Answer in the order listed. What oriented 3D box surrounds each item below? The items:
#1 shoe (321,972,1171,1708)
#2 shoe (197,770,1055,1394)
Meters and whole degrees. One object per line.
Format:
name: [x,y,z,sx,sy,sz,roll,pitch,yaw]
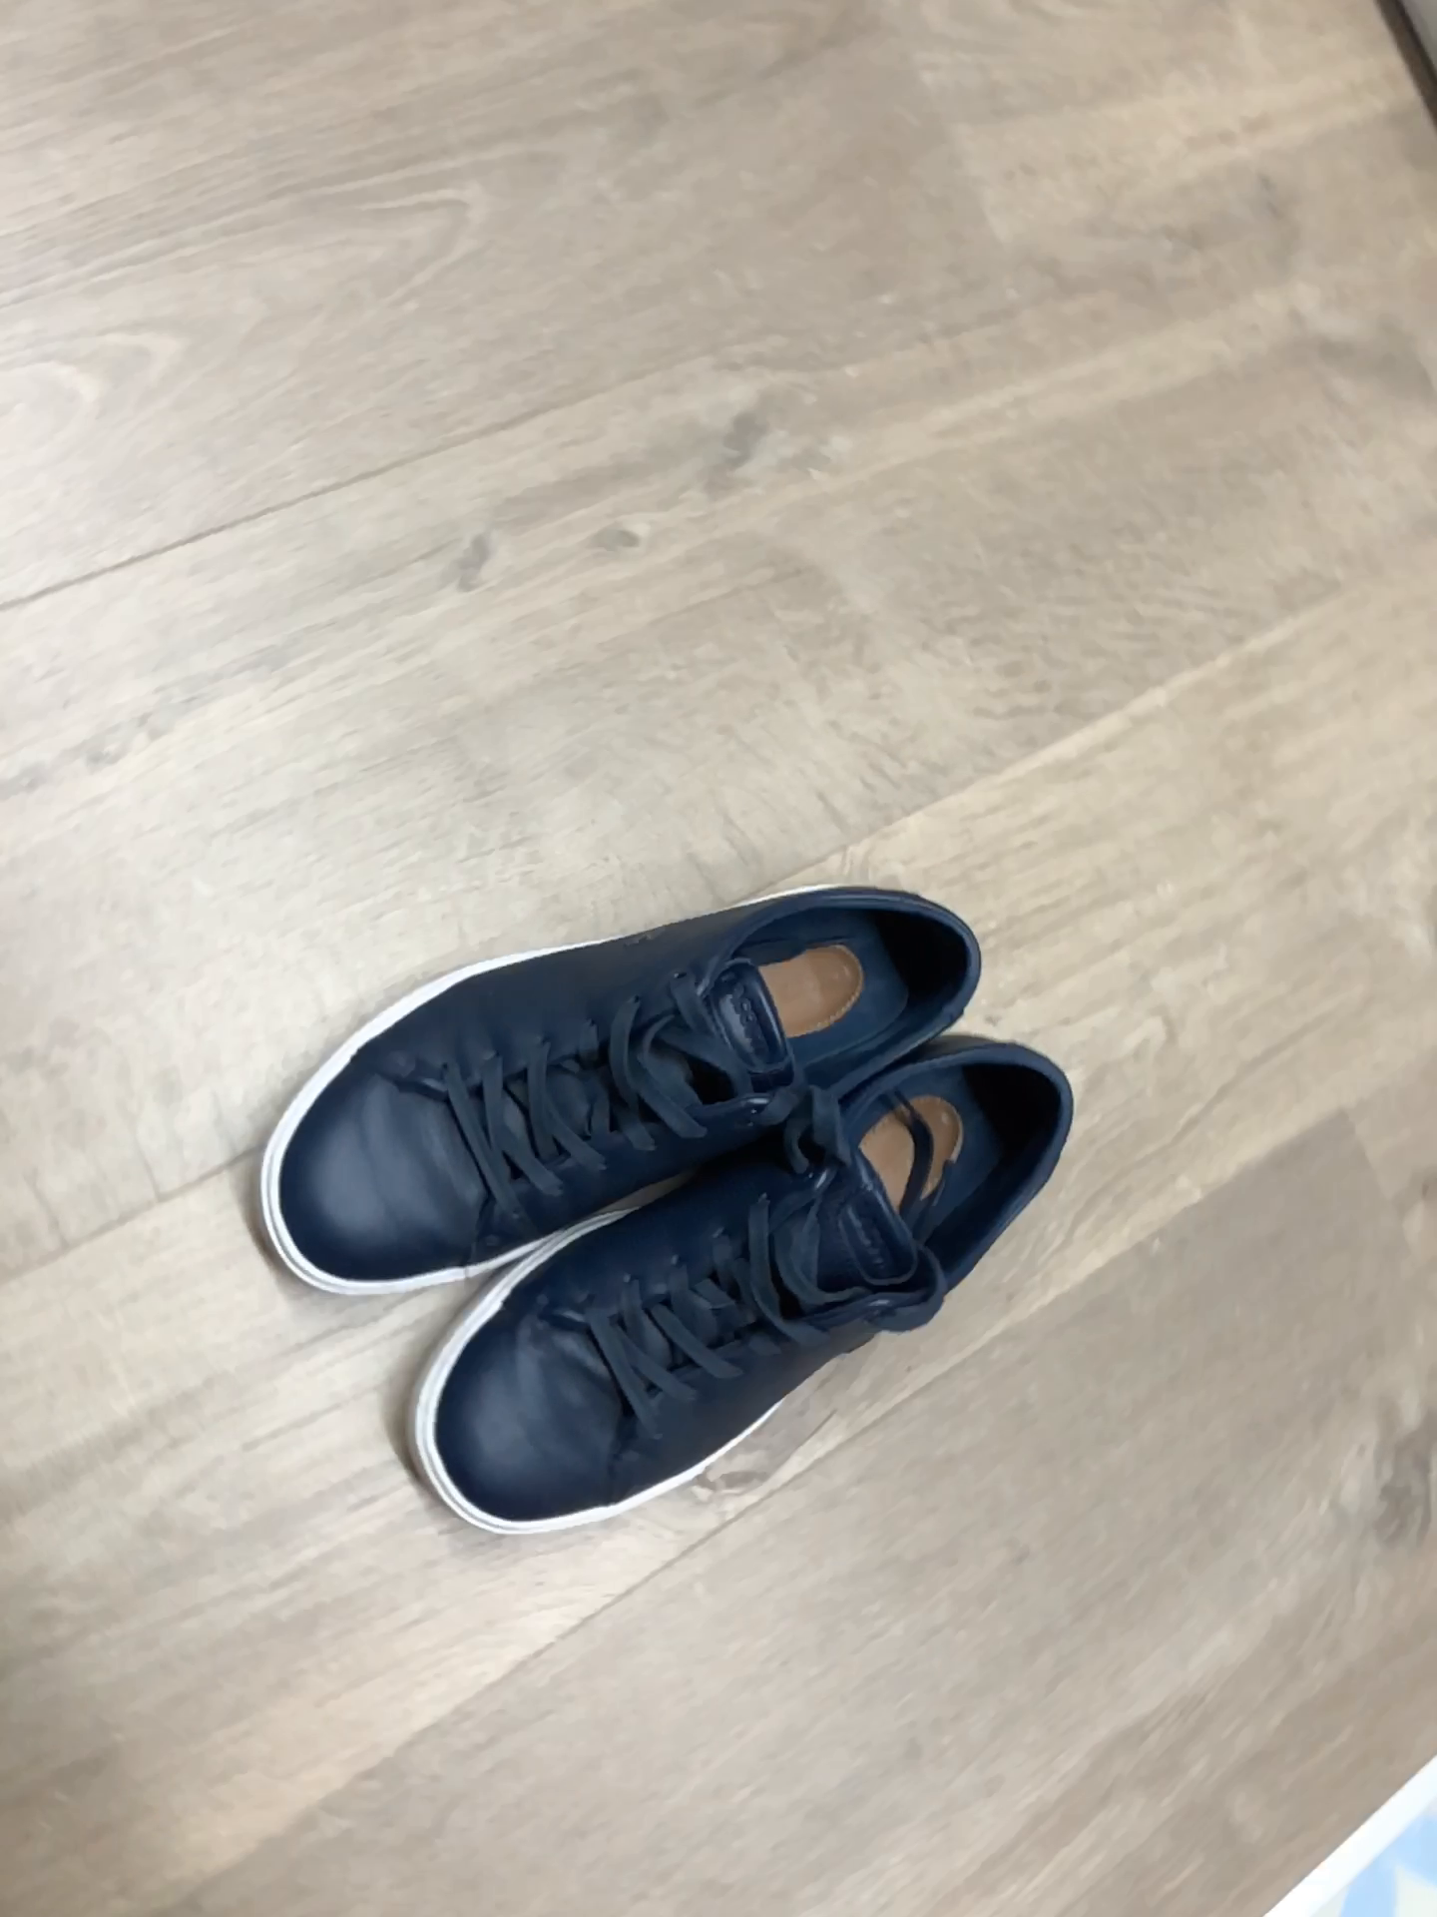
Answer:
shoe: [0.012,0.109,0.511,0.248,0.080,0.100,-29,94,-21]
shoe: [-0.028,0.033,0.512,0.248,0.080,0.100,-23,92,-21]
